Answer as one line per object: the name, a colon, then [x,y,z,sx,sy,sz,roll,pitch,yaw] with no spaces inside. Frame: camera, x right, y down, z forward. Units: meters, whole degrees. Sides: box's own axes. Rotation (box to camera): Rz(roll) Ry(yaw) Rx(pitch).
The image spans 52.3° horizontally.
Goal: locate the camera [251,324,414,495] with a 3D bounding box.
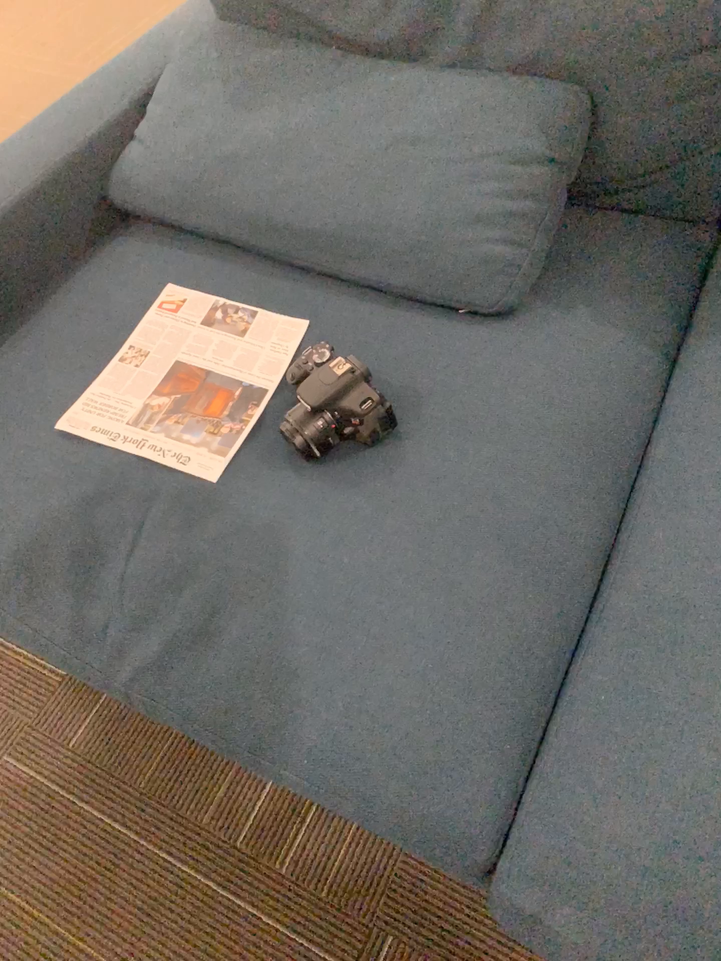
camera: [-0.029,-0.078,0.817,0.108,0.100,0.120,-41,60,-6]
